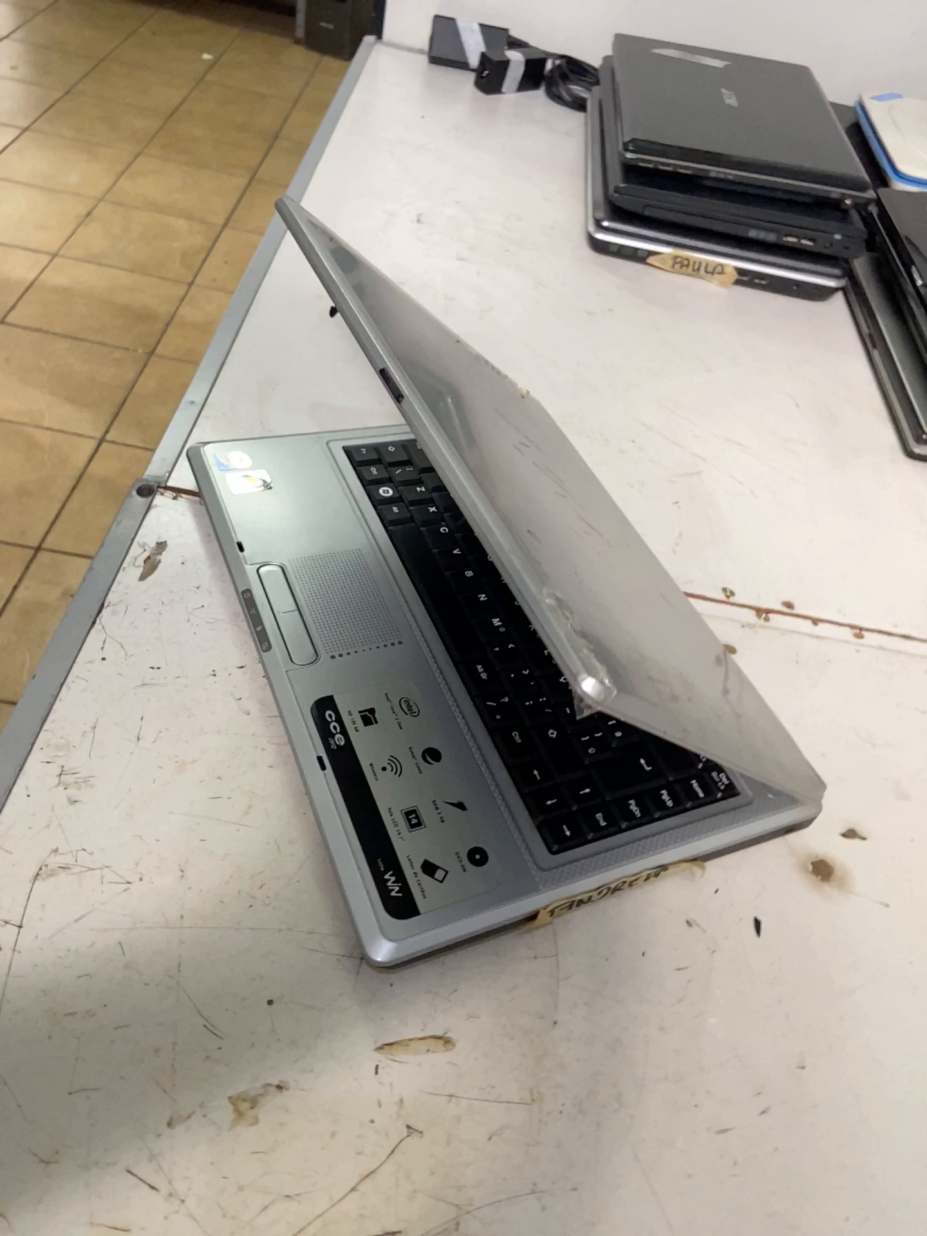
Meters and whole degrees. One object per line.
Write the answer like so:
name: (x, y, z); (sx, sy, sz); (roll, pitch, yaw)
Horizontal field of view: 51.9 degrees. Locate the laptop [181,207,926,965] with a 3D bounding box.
laptop: (0.021, -0.053, 0.478); (0.243, 0.153, 0.336); (-11, 51, -23)
